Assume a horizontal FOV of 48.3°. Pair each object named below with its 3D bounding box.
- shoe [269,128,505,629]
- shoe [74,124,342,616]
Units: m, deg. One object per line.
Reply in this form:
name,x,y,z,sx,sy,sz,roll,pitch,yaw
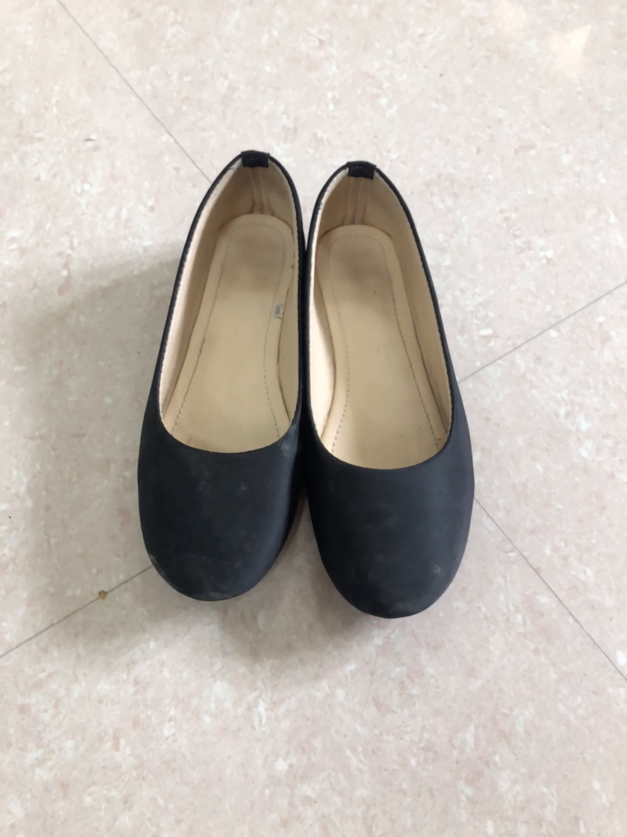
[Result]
shoe,0.025,-0.030,0.347,0.090,0.060,0.250,-1,64,-1
shoe,-0.040,-0.035,0.361,0.090,0.060,0.250,5,64,2
